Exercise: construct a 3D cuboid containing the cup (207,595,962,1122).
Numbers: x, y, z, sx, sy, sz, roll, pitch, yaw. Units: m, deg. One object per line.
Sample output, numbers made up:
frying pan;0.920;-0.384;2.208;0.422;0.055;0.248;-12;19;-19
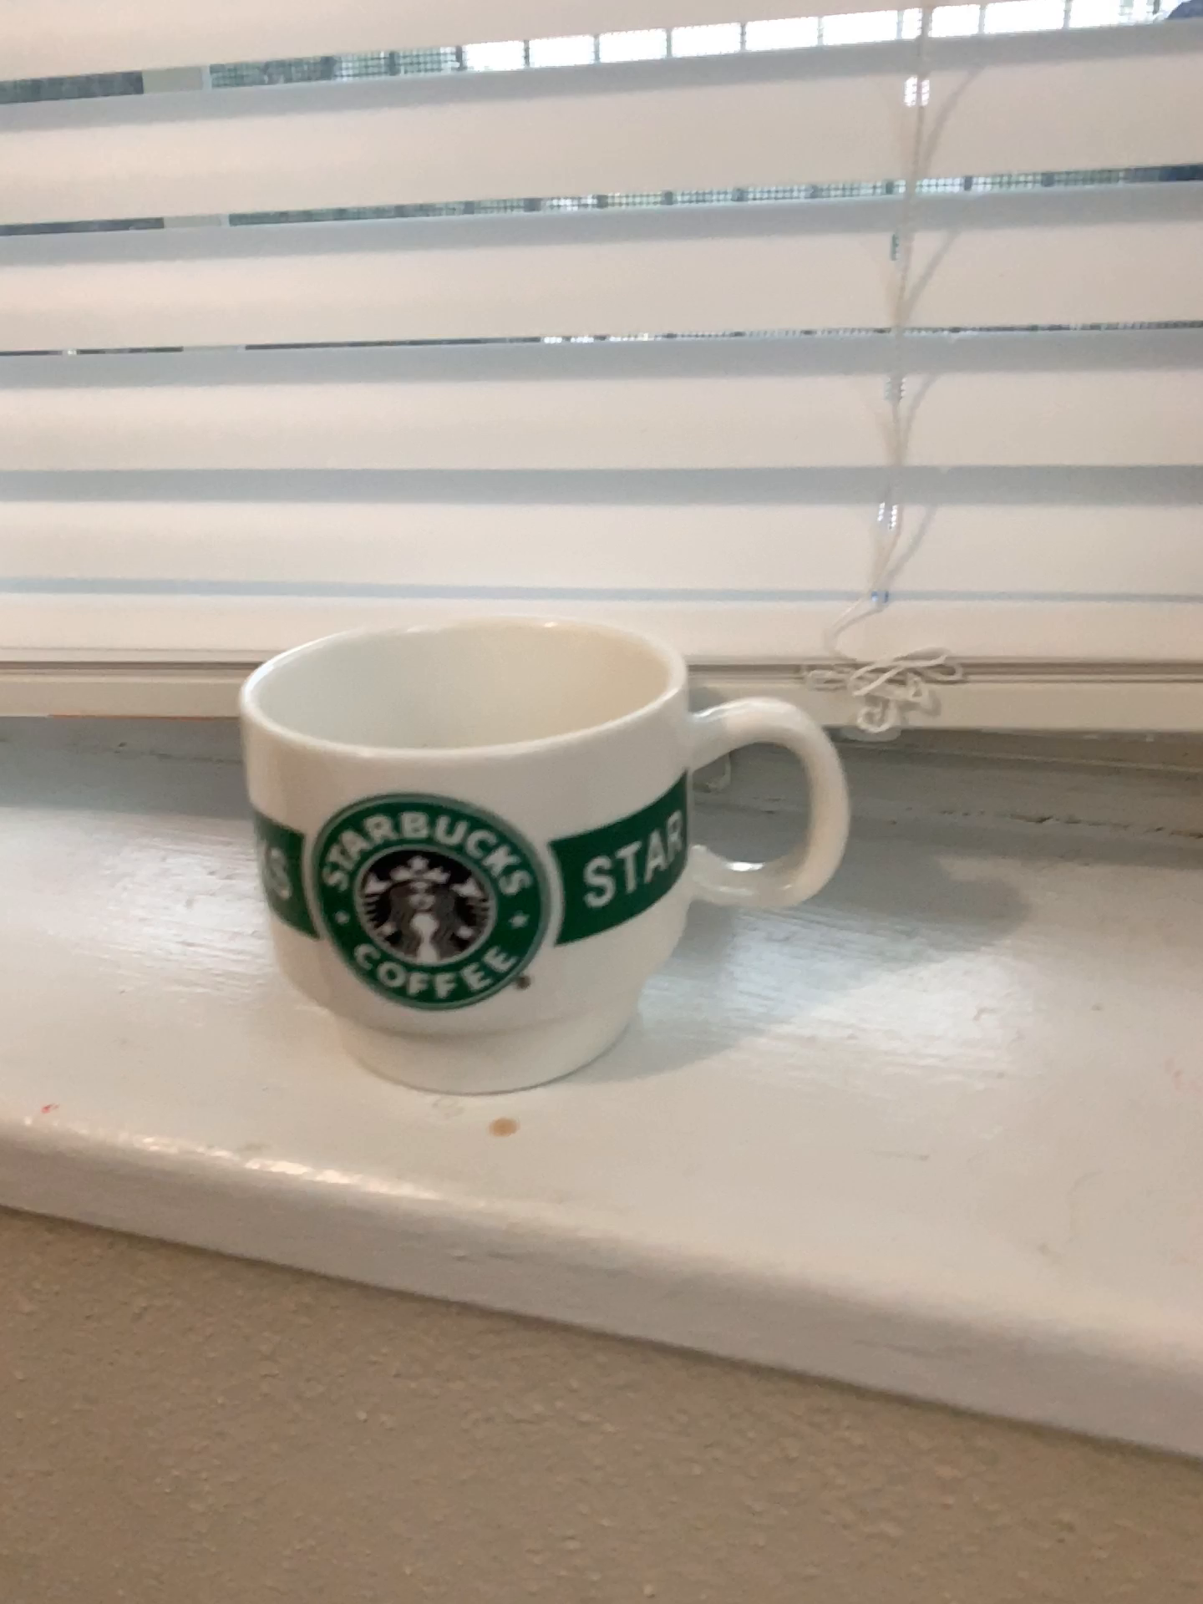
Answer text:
cup;-0.003;0.005;0.209;0.100;0.060;0.070;-2;23;-2
